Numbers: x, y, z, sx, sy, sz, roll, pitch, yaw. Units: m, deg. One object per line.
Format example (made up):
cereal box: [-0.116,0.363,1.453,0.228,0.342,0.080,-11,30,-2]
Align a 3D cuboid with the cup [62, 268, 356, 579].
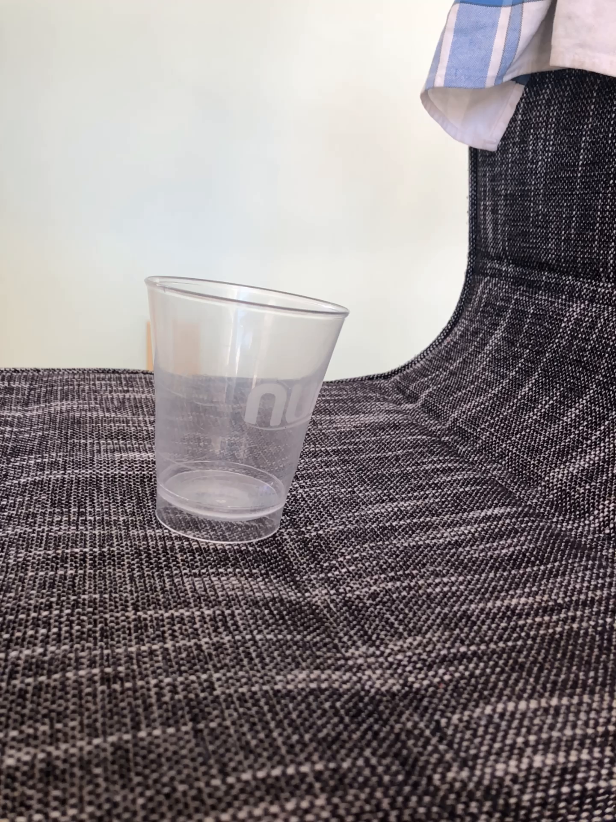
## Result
cup: [-0.041,-0.002,0.288,0.080,0.100,0.080,8,13,-2]
